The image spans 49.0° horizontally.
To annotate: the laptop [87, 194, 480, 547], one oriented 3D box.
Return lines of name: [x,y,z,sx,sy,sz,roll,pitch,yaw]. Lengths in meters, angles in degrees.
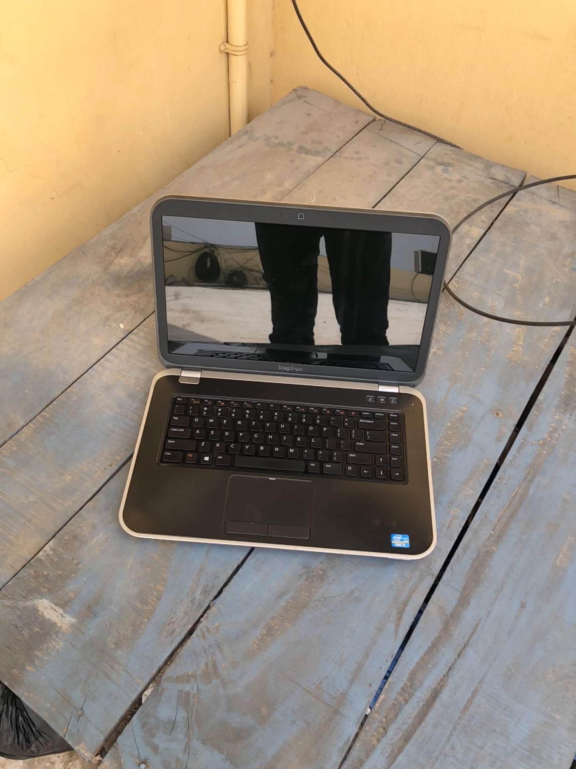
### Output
laptop: [0.002,-0.024,0.748,0.352,0.209,0.334,4,52,2]
